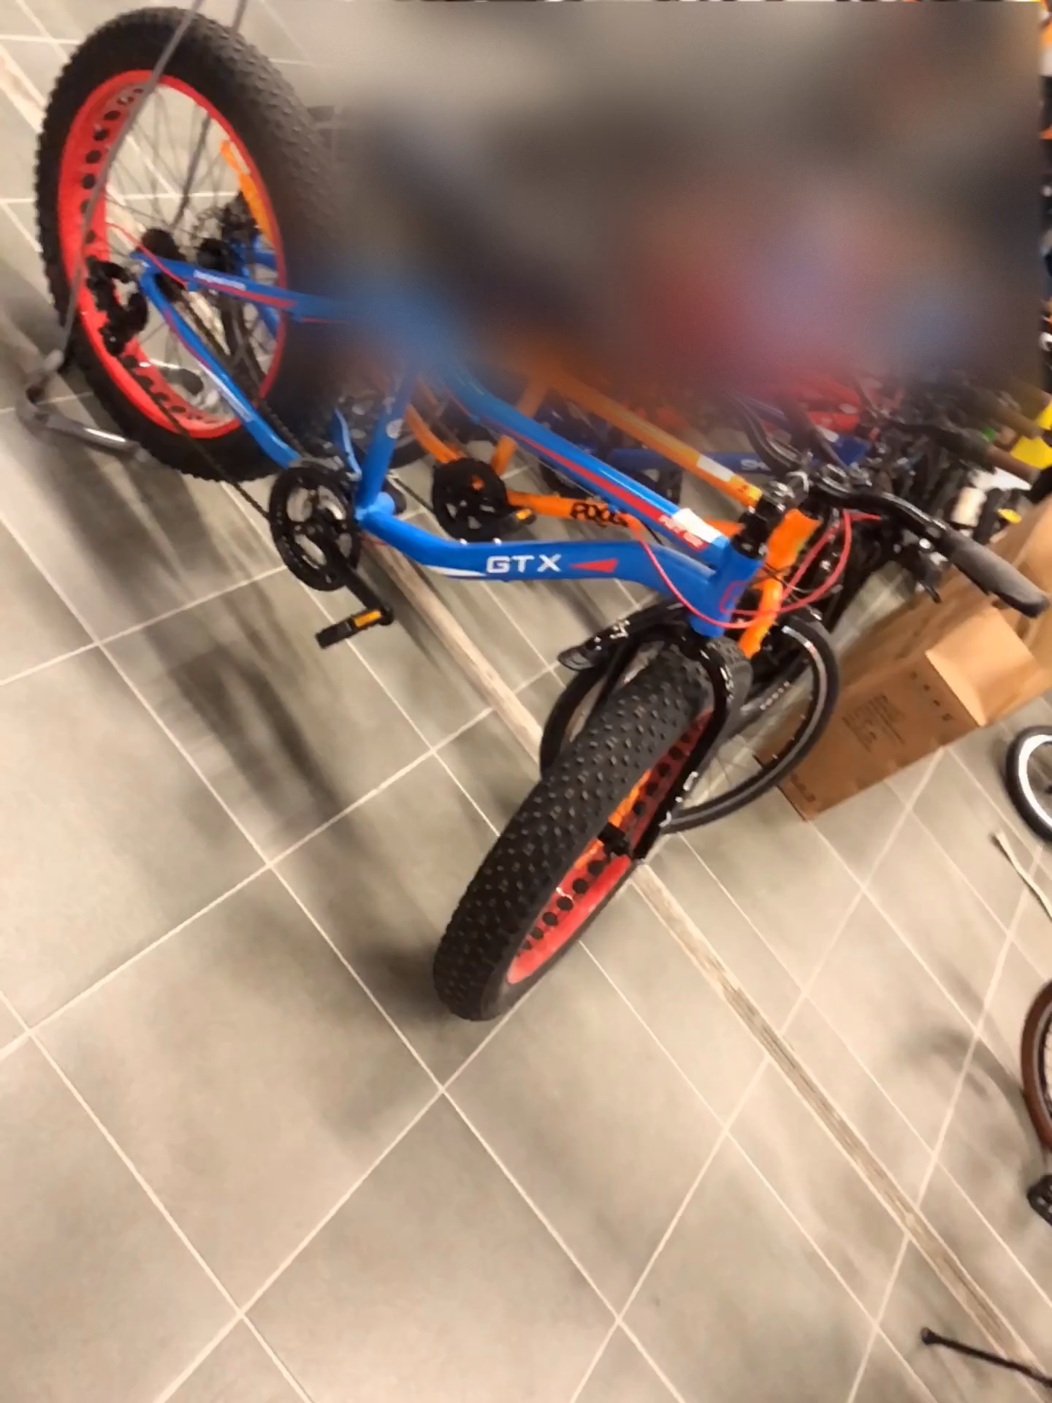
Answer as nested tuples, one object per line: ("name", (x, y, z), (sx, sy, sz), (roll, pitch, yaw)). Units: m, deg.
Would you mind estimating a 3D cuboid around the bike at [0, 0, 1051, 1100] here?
("bike", (-0.212, -0.397, 1.590), (1.467, 1.023, 0.617), (52, 38, 1))
